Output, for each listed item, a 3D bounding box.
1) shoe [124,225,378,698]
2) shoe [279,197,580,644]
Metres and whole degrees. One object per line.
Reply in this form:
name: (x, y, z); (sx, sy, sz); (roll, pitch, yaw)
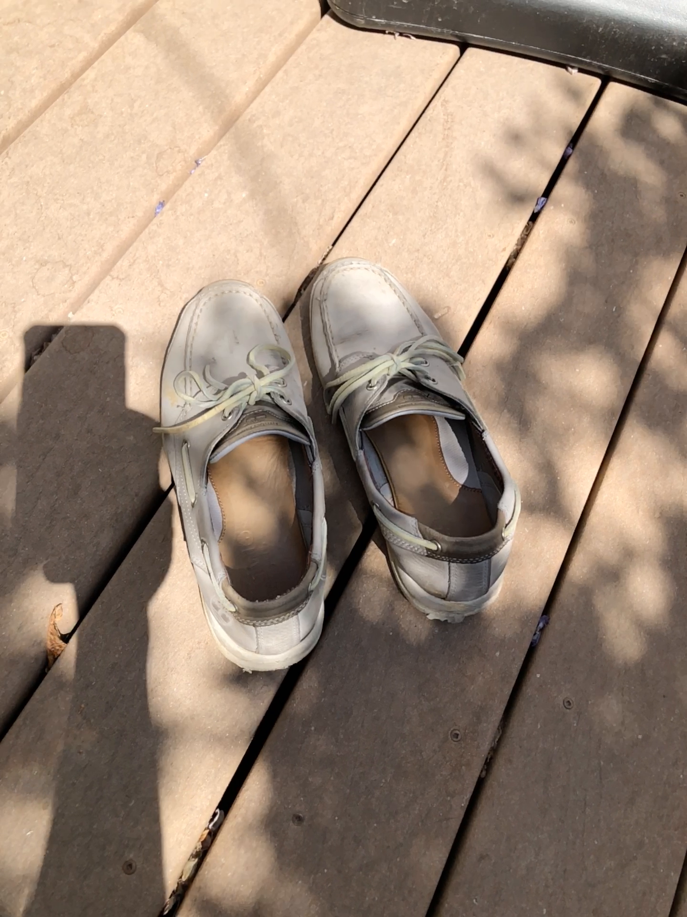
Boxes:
shoe: (-0.069, -0.009, 0.497); (0.109, 0.076, 0.294); (-8, 66, -11)
shoe: (0.044, -0.036, 0.525); (0.109, 0.076, 0.294); (-12, 67, -12)
